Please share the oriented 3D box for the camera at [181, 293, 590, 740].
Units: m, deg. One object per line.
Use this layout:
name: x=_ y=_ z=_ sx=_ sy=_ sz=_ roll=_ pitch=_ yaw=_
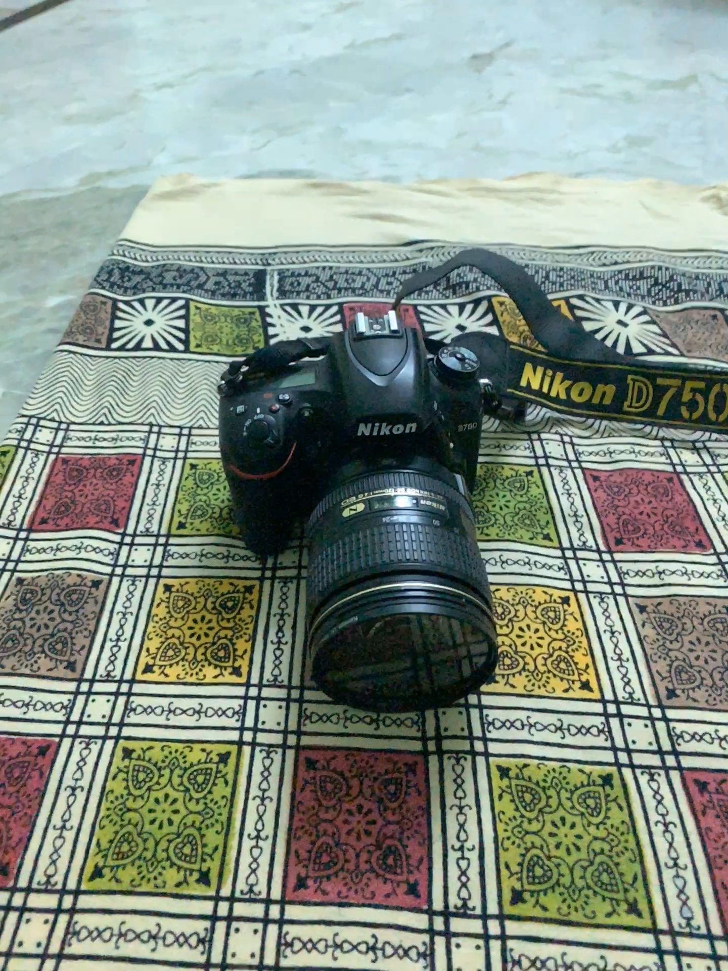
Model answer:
camera: x=0.004 y=0.004 z=0.358 sx=0.140 sy=0.100 sz=0.191 roll=-3 pitch=44 yaw=-1
